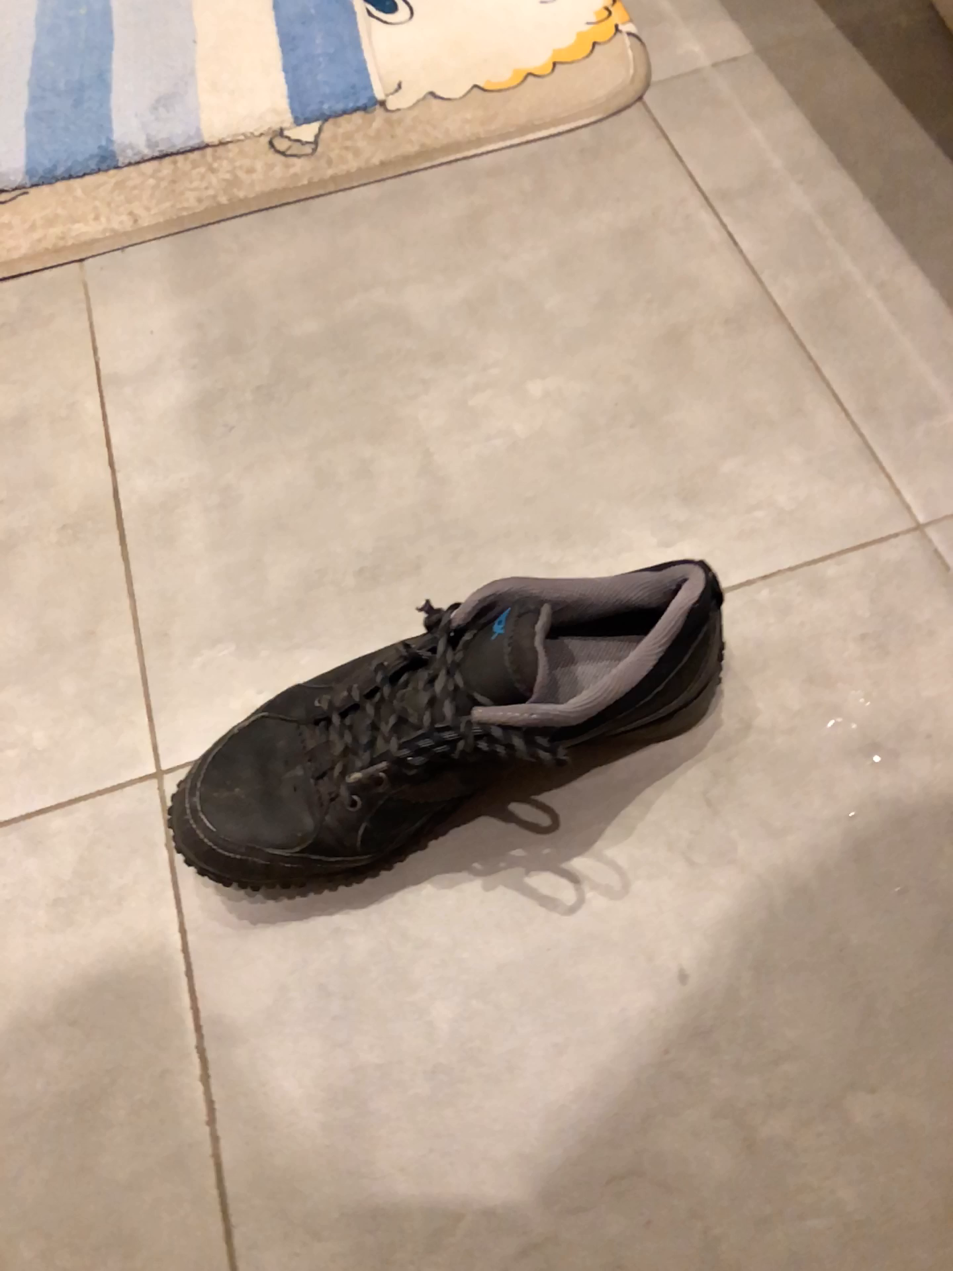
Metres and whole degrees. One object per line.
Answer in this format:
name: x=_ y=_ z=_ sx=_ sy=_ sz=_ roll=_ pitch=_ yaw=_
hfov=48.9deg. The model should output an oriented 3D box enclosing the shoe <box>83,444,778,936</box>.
shoe: x=-0.018 y=0.028 z=0.475 sx=0.270 sy=0.110 sz=0.100 roll=-20 pitch=60 yaw=-3
